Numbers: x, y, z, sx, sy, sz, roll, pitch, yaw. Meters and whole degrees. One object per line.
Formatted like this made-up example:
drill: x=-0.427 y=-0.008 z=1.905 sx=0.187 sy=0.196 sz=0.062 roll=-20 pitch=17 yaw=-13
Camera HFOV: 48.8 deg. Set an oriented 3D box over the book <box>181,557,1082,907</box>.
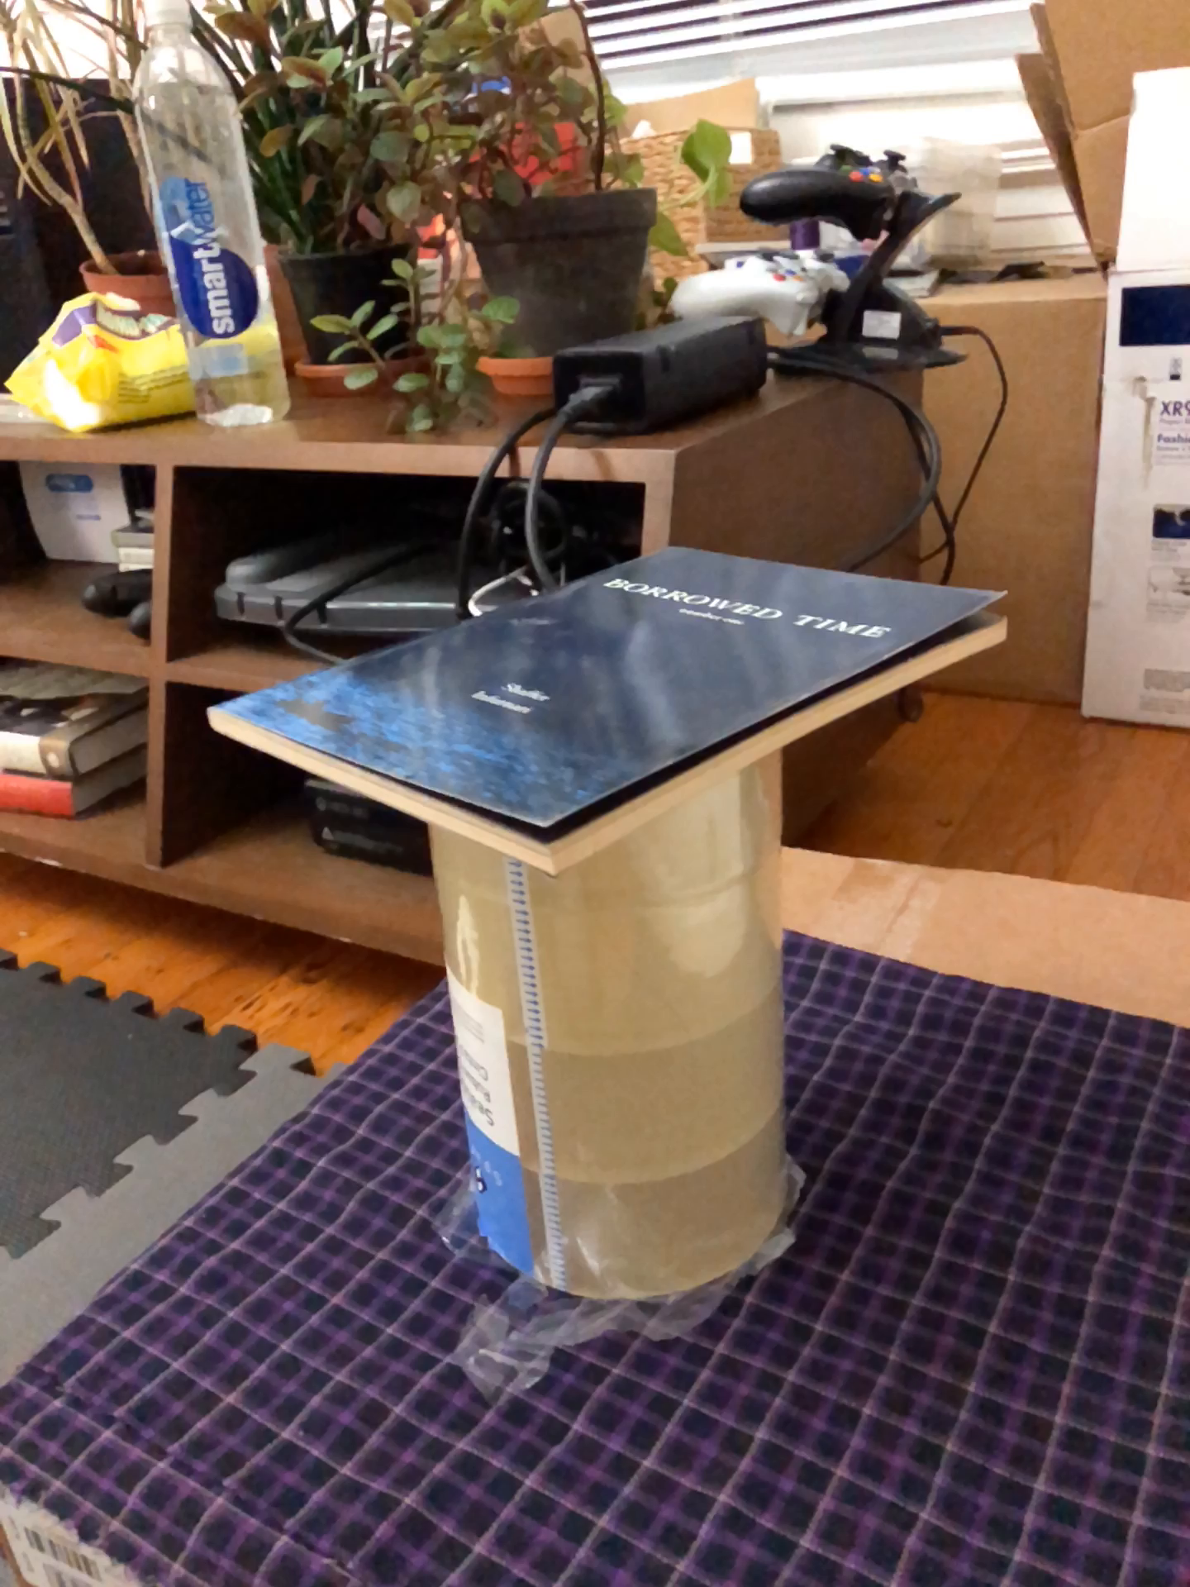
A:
book: x=0.019 y=-0.036 z=0.400 sx=0.160 sy=0.010 sz=0.231 roll=19 pitch=31 yaw=41
